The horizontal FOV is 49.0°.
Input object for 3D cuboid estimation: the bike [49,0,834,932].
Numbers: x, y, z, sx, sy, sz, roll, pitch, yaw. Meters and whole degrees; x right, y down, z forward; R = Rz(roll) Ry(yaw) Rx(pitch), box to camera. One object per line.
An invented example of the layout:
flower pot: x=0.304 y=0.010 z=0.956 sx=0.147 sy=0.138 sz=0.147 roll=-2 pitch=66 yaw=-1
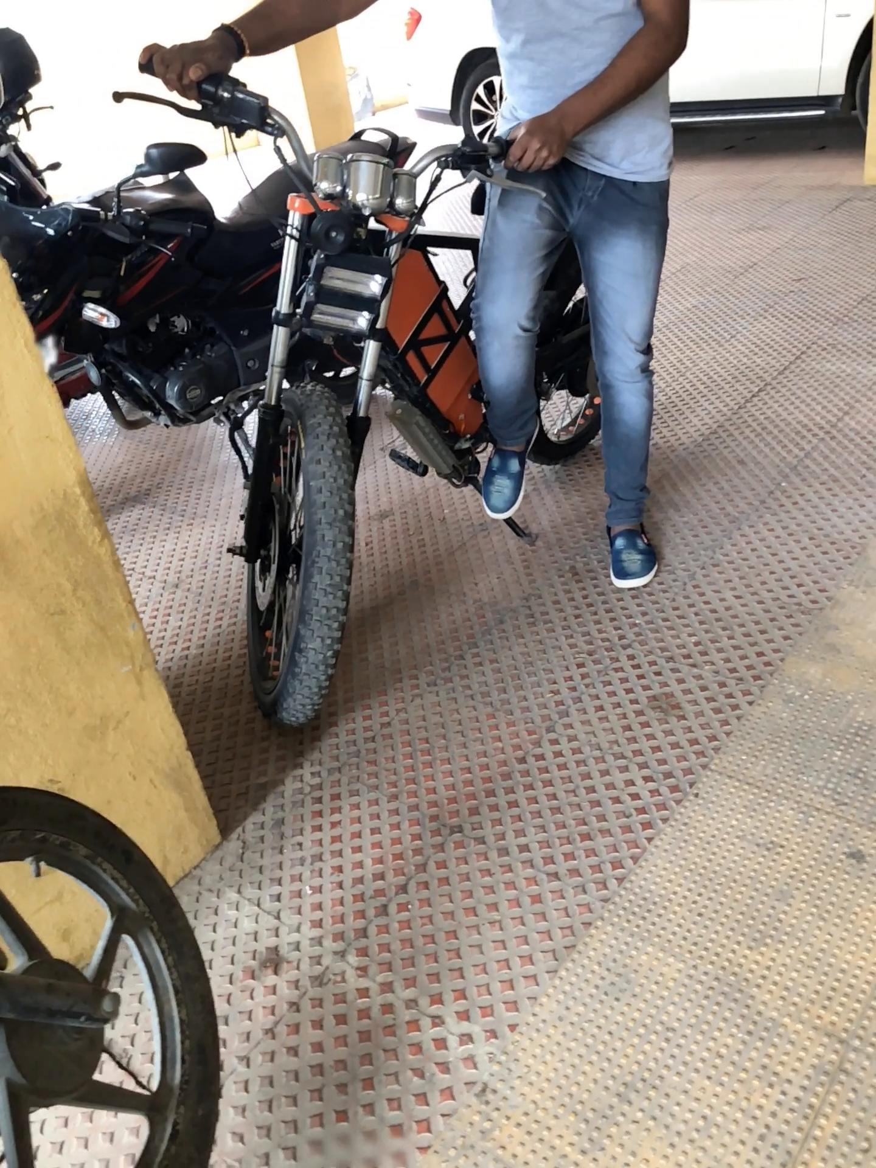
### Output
bike: x=0.235 y=-0.502 z=2.119 sx=0.754 sy=1.185 sz=1.758 roll=12 pitch=41 yaw=31
